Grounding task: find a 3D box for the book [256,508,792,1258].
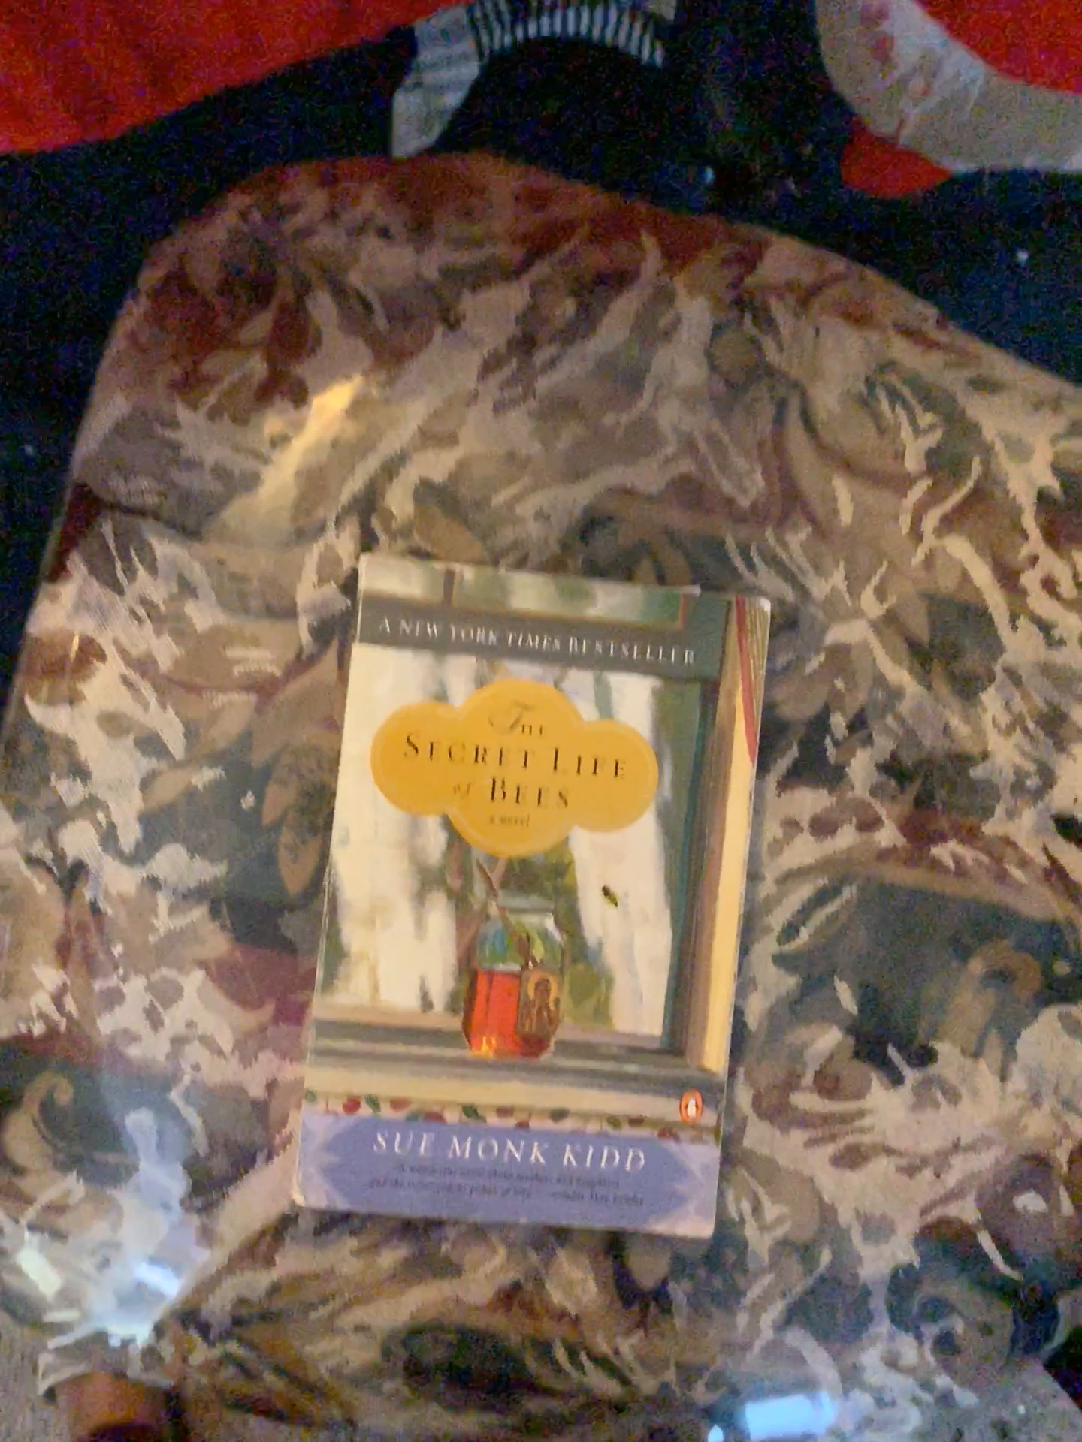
[{"bbox_3d":[-0.004,0.047,0.353,0.140,0.040,0.210,6,86,0],"label":"book"}]
